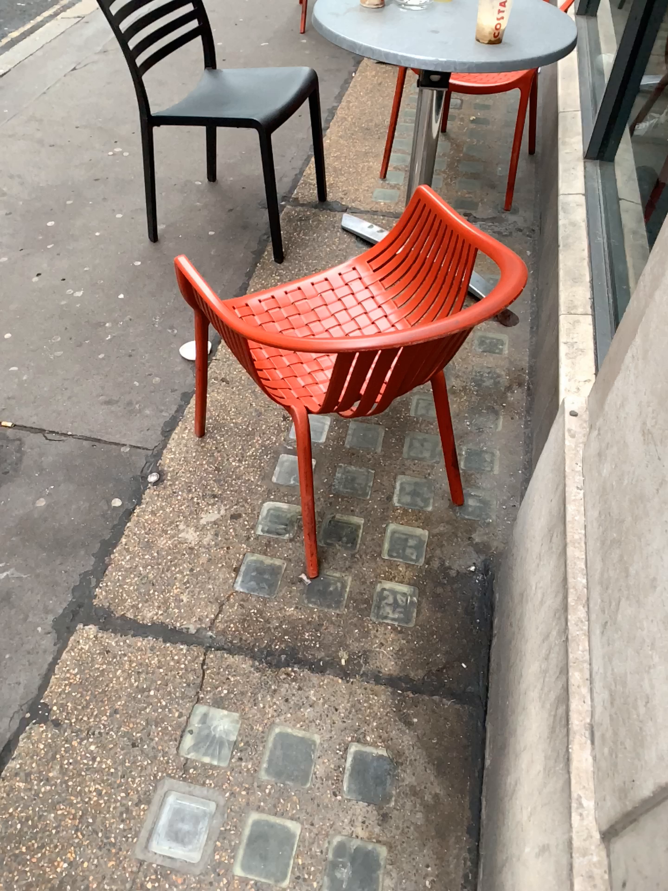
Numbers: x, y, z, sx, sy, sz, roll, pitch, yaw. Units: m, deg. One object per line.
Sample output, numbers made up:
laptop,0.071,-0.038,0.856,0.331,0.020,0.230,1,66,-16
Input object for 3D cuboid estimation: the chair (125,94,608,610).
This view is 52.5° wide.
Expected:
chair,0.022,-0.199,1.406,0.581,0.694,0.614,-23,53,-21
